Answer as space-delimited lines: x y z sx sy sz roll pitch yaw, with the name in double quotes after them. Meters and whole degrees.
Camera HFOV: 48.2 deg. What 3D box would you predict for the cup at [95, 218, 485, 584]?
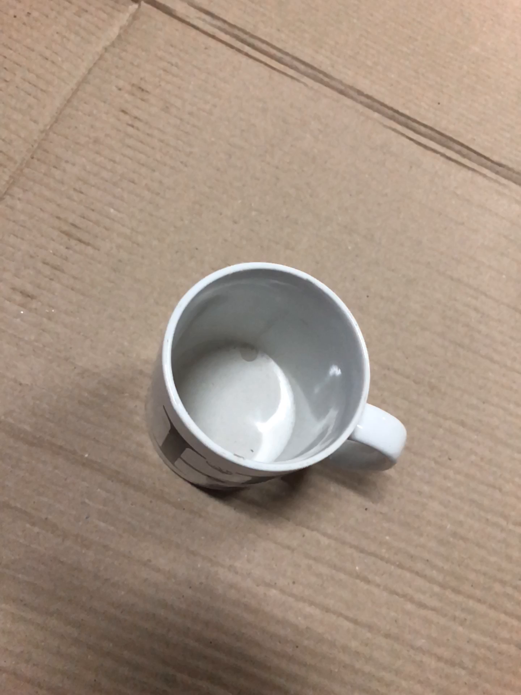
0.005 0.031 0.235 0.110 0.100 0.080 28 63 -2 "cup"
